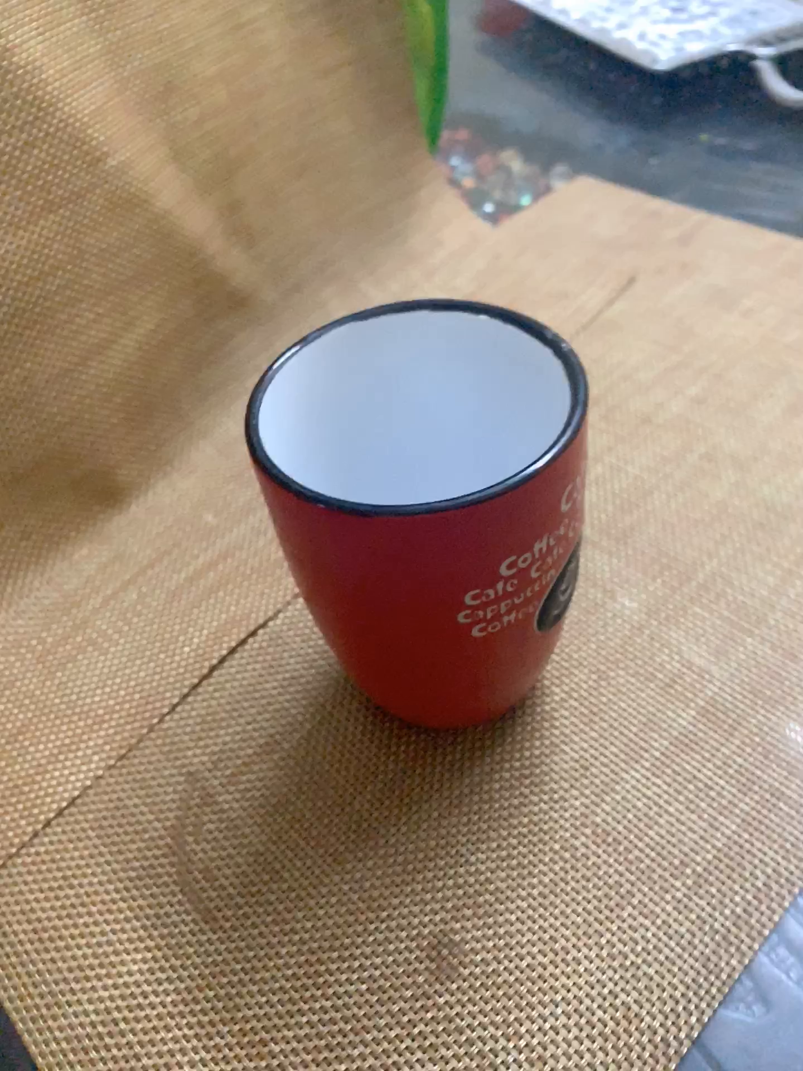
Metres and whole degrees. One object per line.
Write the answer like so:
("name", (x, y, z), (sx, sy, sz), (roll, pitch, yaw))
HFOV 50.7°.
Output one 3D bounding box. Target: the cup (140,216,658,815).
("cup", (0.013, -0.011, 0.237), (0.090, 0.099, 0.121), (9, 49, 18))
